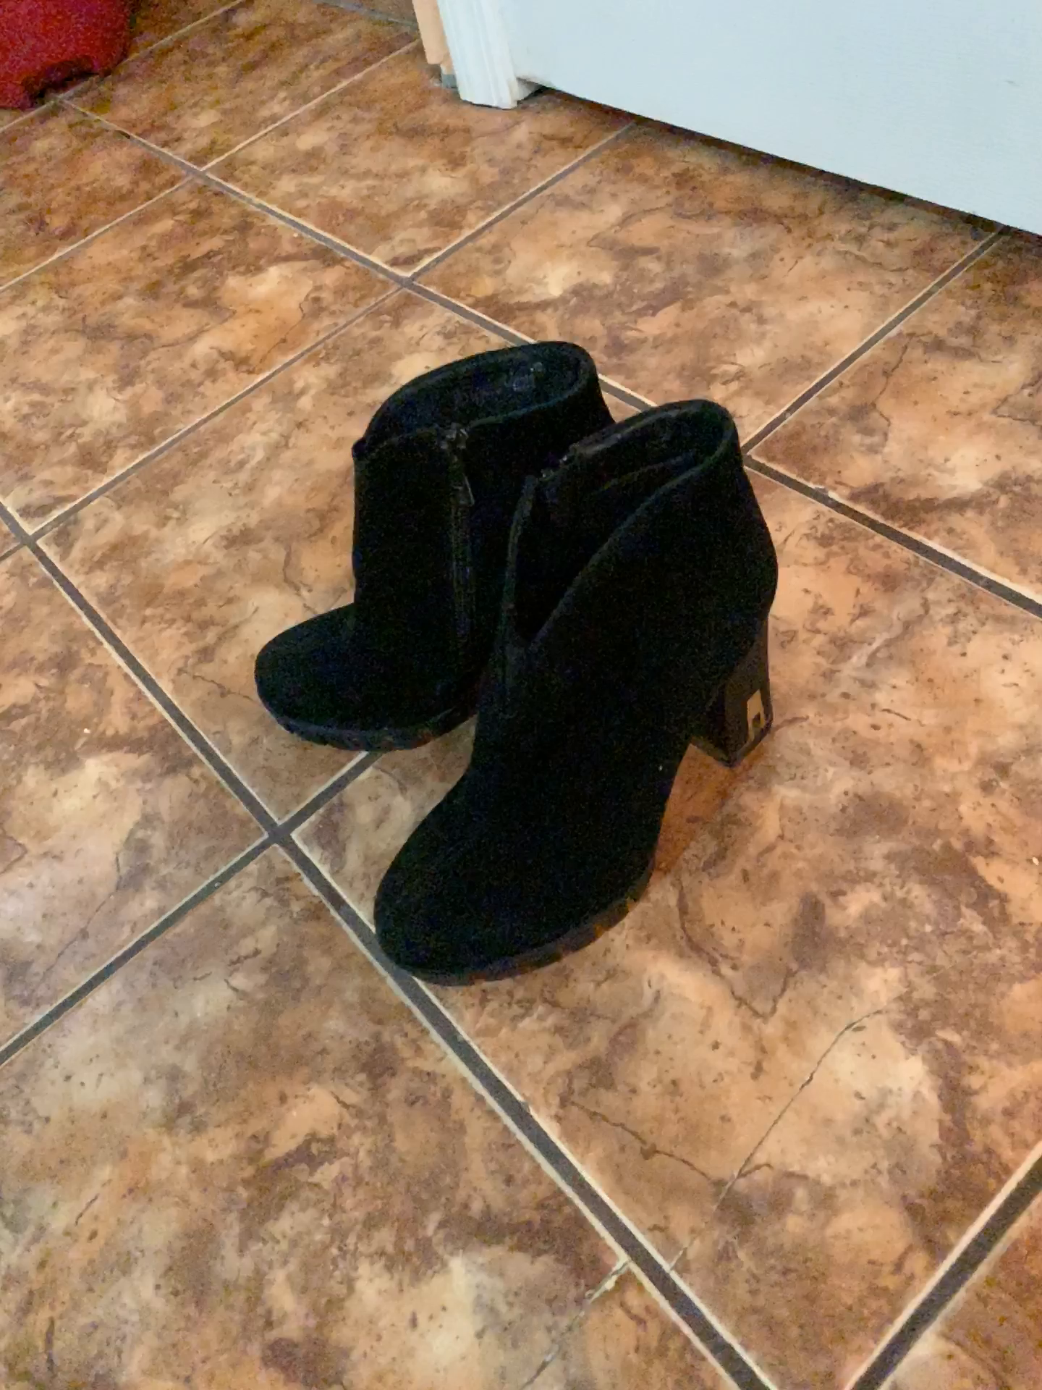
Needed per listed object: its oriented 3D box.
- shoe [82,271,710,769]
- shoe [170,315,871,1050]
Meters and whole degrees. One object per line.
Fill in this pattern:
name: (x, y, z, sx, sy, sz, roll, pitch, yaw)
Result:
shoe: (-0.039, -0.067, 0.490, 0.229, 0.180, 0.094, -7, 52, 9)
shoe: (0.018, 0.000, 0.423, 0.229, 0.180, 0.094, -37, 53, -14)
